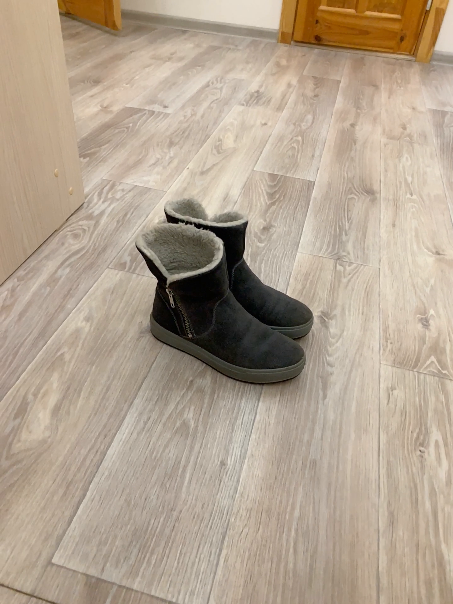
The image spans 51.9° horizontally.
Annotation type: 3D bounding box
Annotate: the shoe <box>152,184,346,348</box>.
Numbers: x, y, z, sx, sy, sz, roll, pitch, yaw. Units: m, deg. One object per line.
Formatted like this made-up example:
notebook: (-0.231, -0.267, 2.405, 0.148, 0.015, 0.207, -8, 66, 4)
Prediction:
shoe: (0.028, -0.060, 0.739, 0.270, 0.169, 0.100, 17, 41, 13)

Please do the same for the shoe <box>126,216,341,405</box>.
shoe: (0.003, 0.009, 0.679, 0.270, 0.179, 0.100, 18, 41, 14)
